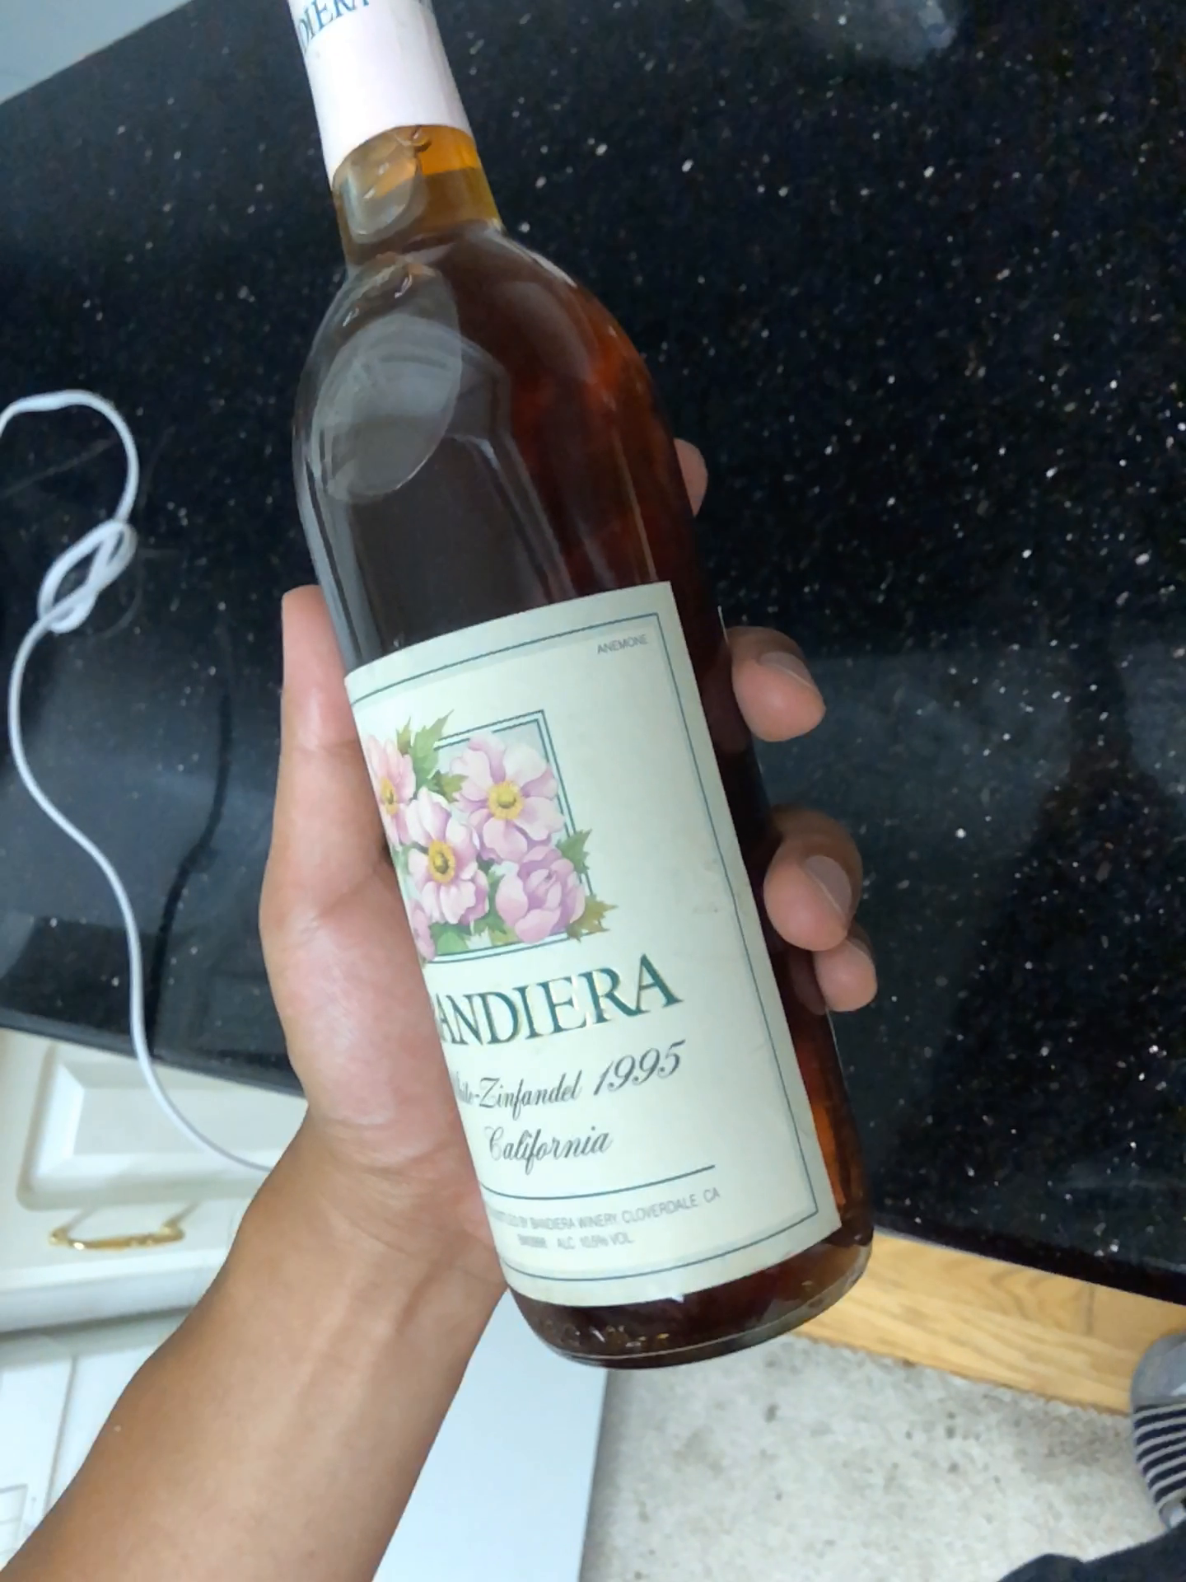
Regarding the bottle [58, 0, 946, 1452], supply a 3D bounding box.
[{"bbox_3d":[-0.015,-0.039,0.258,0.080,0.070,0.300,-13,90,33],"label":"bottle"}]
